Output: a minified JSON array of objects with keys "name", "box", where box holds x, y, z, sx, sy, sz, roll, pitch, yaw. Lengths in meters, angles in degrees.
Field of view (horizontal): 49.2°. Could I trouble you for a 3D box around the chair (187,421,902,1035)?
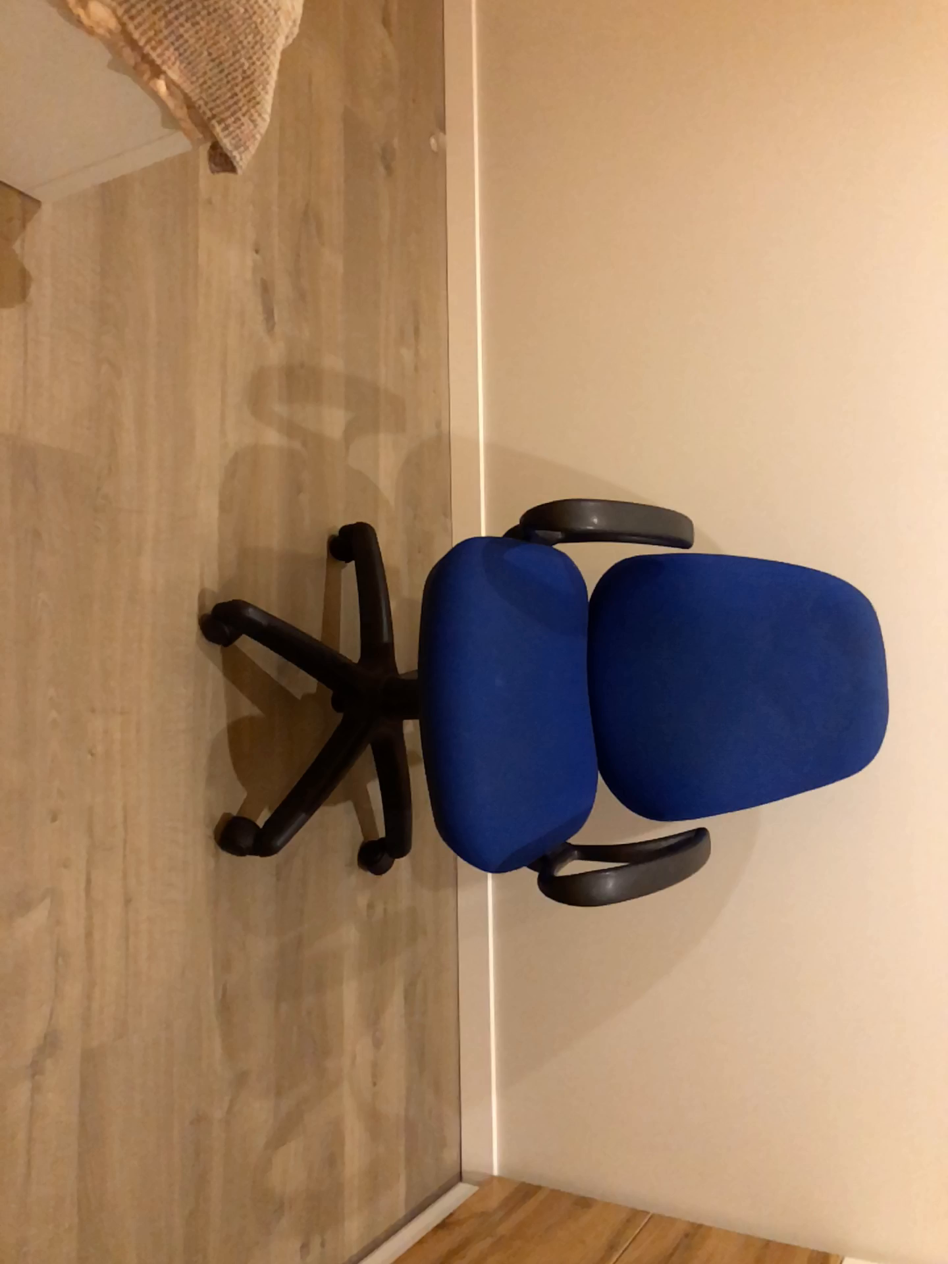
[{"name":"chair","box":[0.147,0.116,1.693,0.704,0.904,0.696,-6,92,-61]}]
